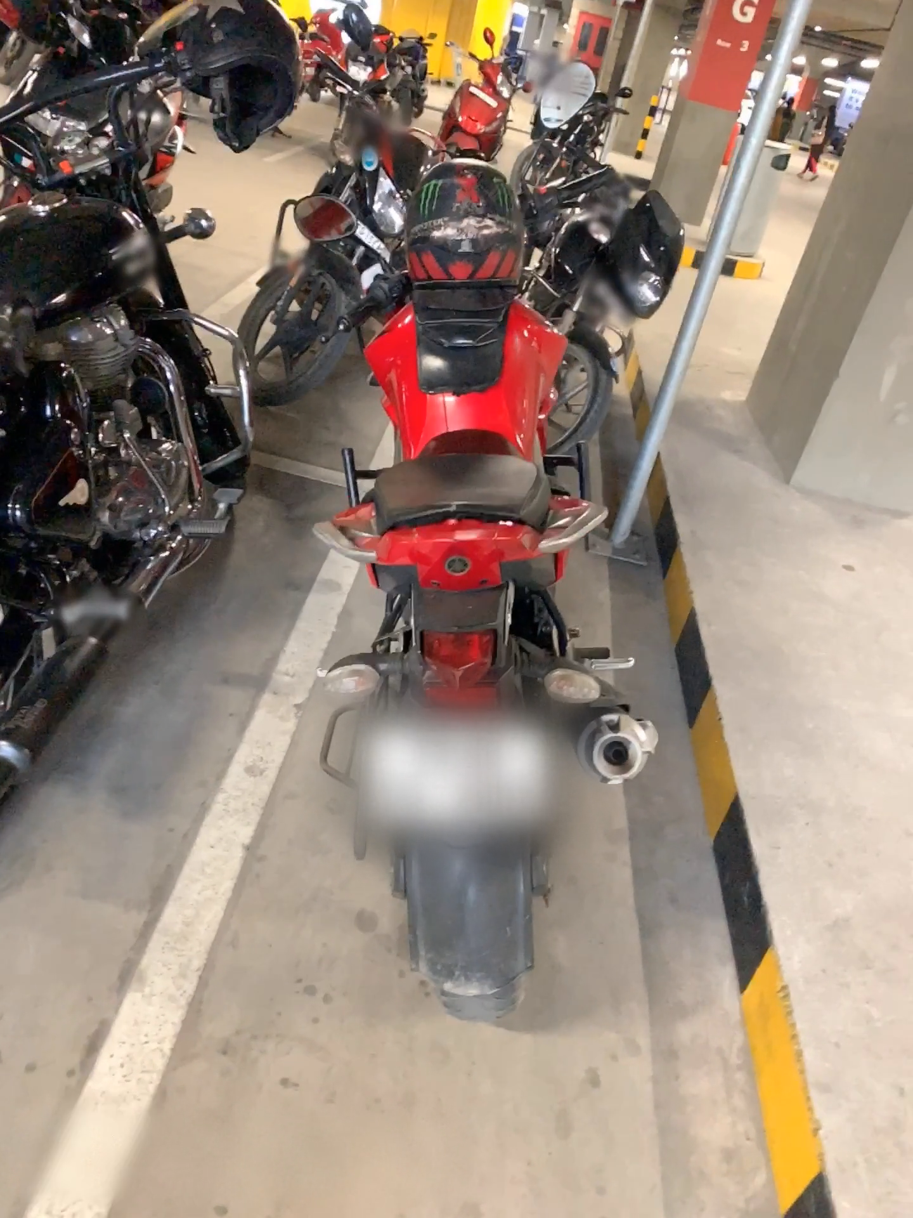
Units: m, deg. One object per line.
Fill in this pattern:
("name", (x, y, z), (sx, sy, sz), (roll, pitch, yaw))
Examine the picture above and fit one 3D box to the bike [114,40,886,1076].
("bike", (-0.166, -0.296, 1.792), (0.676, 1.121, 1.692), (6, 33, -13))
